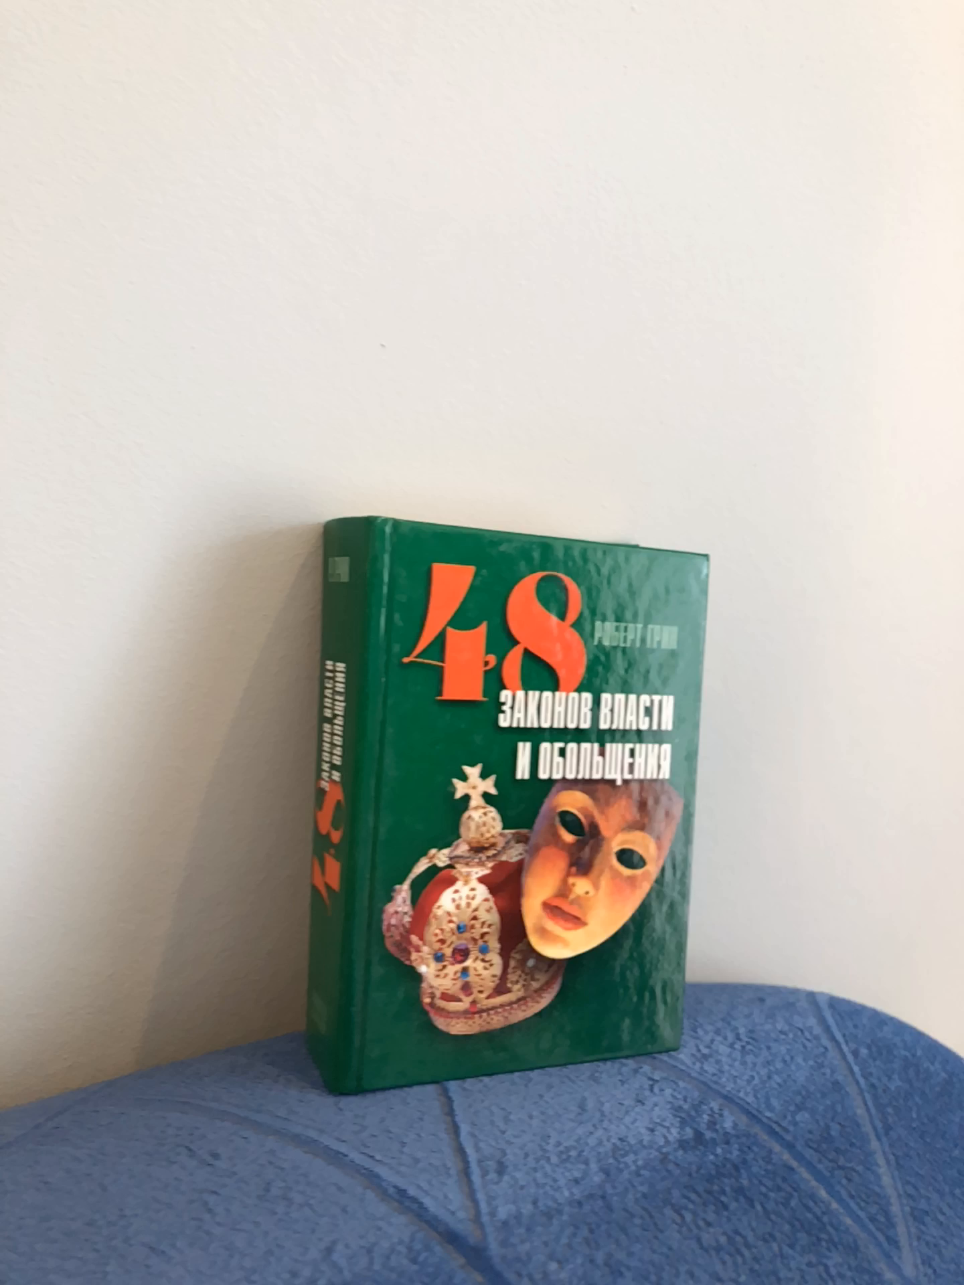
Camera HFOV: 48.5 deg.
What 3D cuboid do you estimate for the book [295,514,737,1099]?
[{"bbox_3d":[0.008,0.040,0.301,0.107,0.141,0.050,2,2,-22],"label":"book"}]
